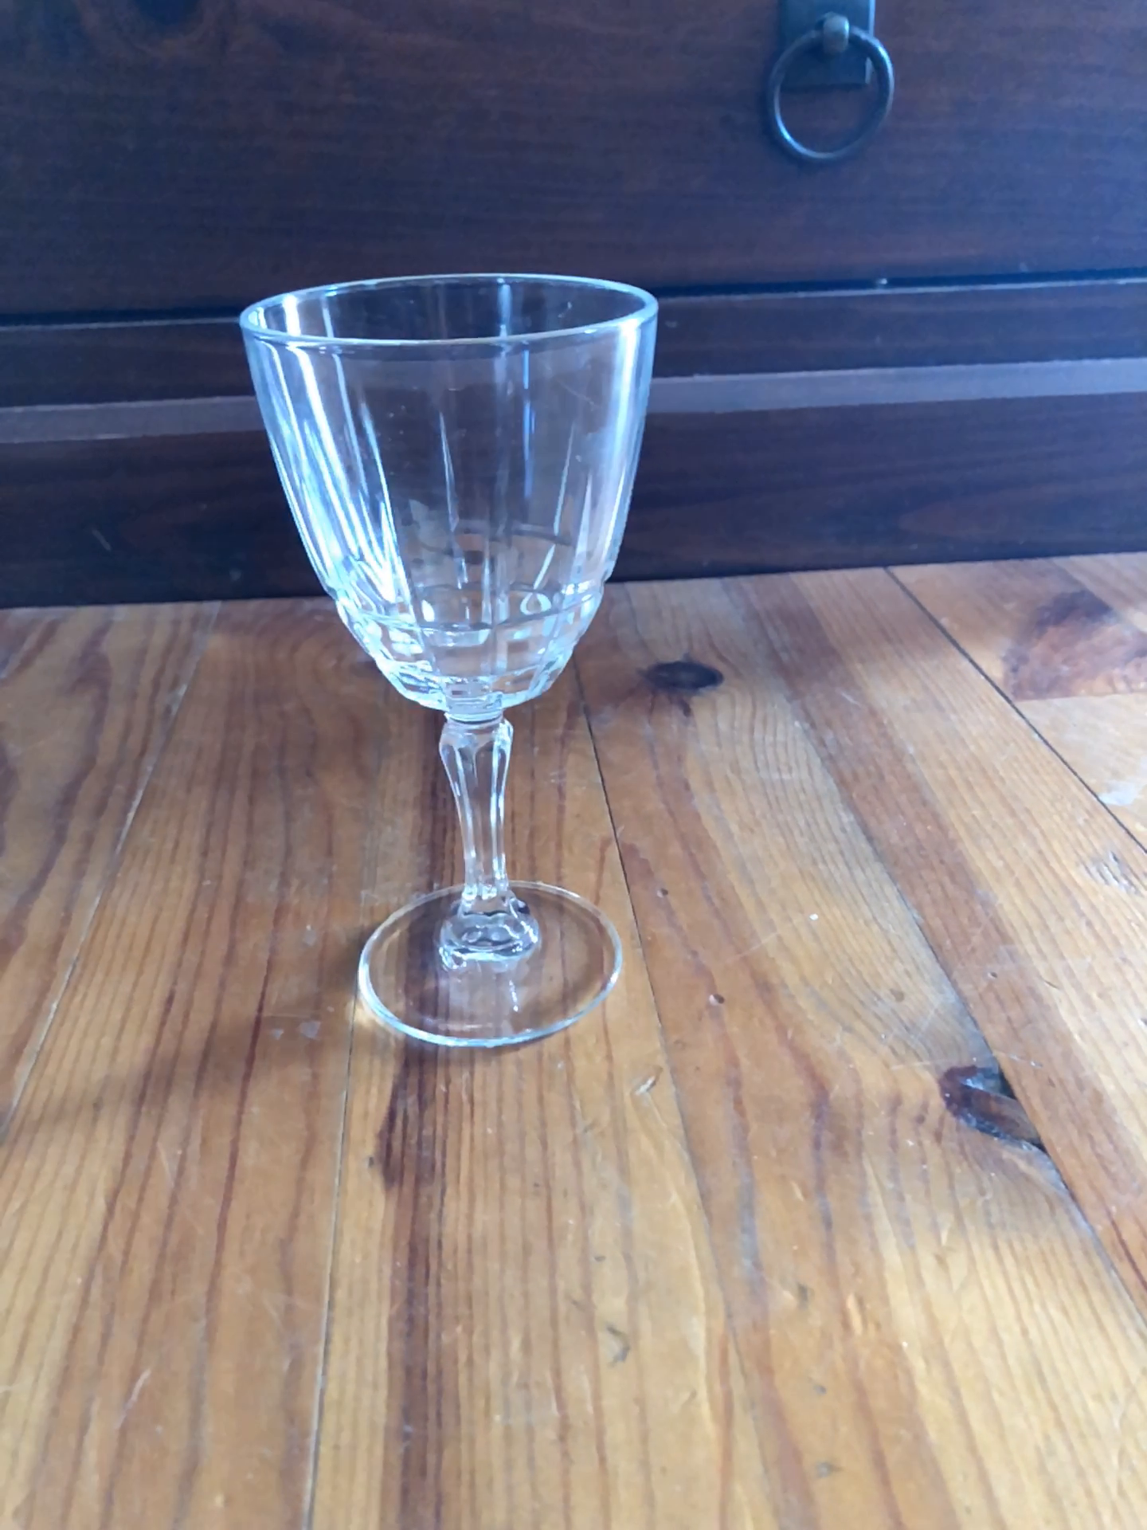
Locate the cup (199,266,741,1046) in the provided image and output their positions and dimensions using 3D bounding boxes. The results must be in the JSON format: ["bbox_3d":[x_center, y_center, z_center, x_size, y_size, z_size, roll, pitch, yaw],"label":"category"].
[{"bbox_3d":[-0.016,-0.024,0.268,0.084,0.141,0.084,0,28,0],"label":"cup"}]
